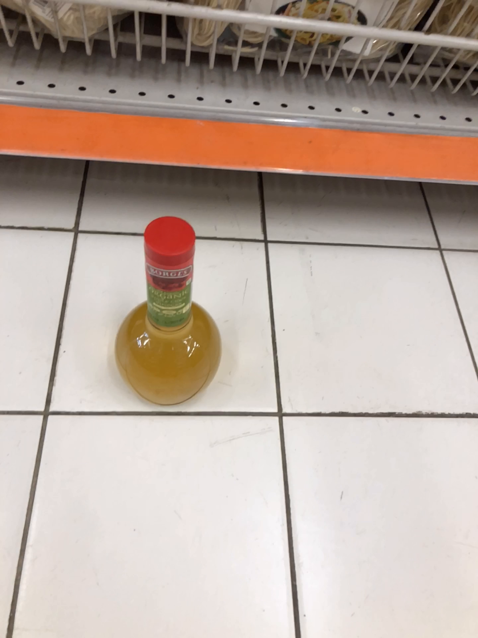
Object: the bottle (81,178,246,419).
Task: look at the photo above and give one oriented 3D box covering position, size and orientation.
[{"bbox_3d":[-0.051,-0.003,0.384,0.090,0.169,0.090,4,57,-6],"label":"bottle"}]
